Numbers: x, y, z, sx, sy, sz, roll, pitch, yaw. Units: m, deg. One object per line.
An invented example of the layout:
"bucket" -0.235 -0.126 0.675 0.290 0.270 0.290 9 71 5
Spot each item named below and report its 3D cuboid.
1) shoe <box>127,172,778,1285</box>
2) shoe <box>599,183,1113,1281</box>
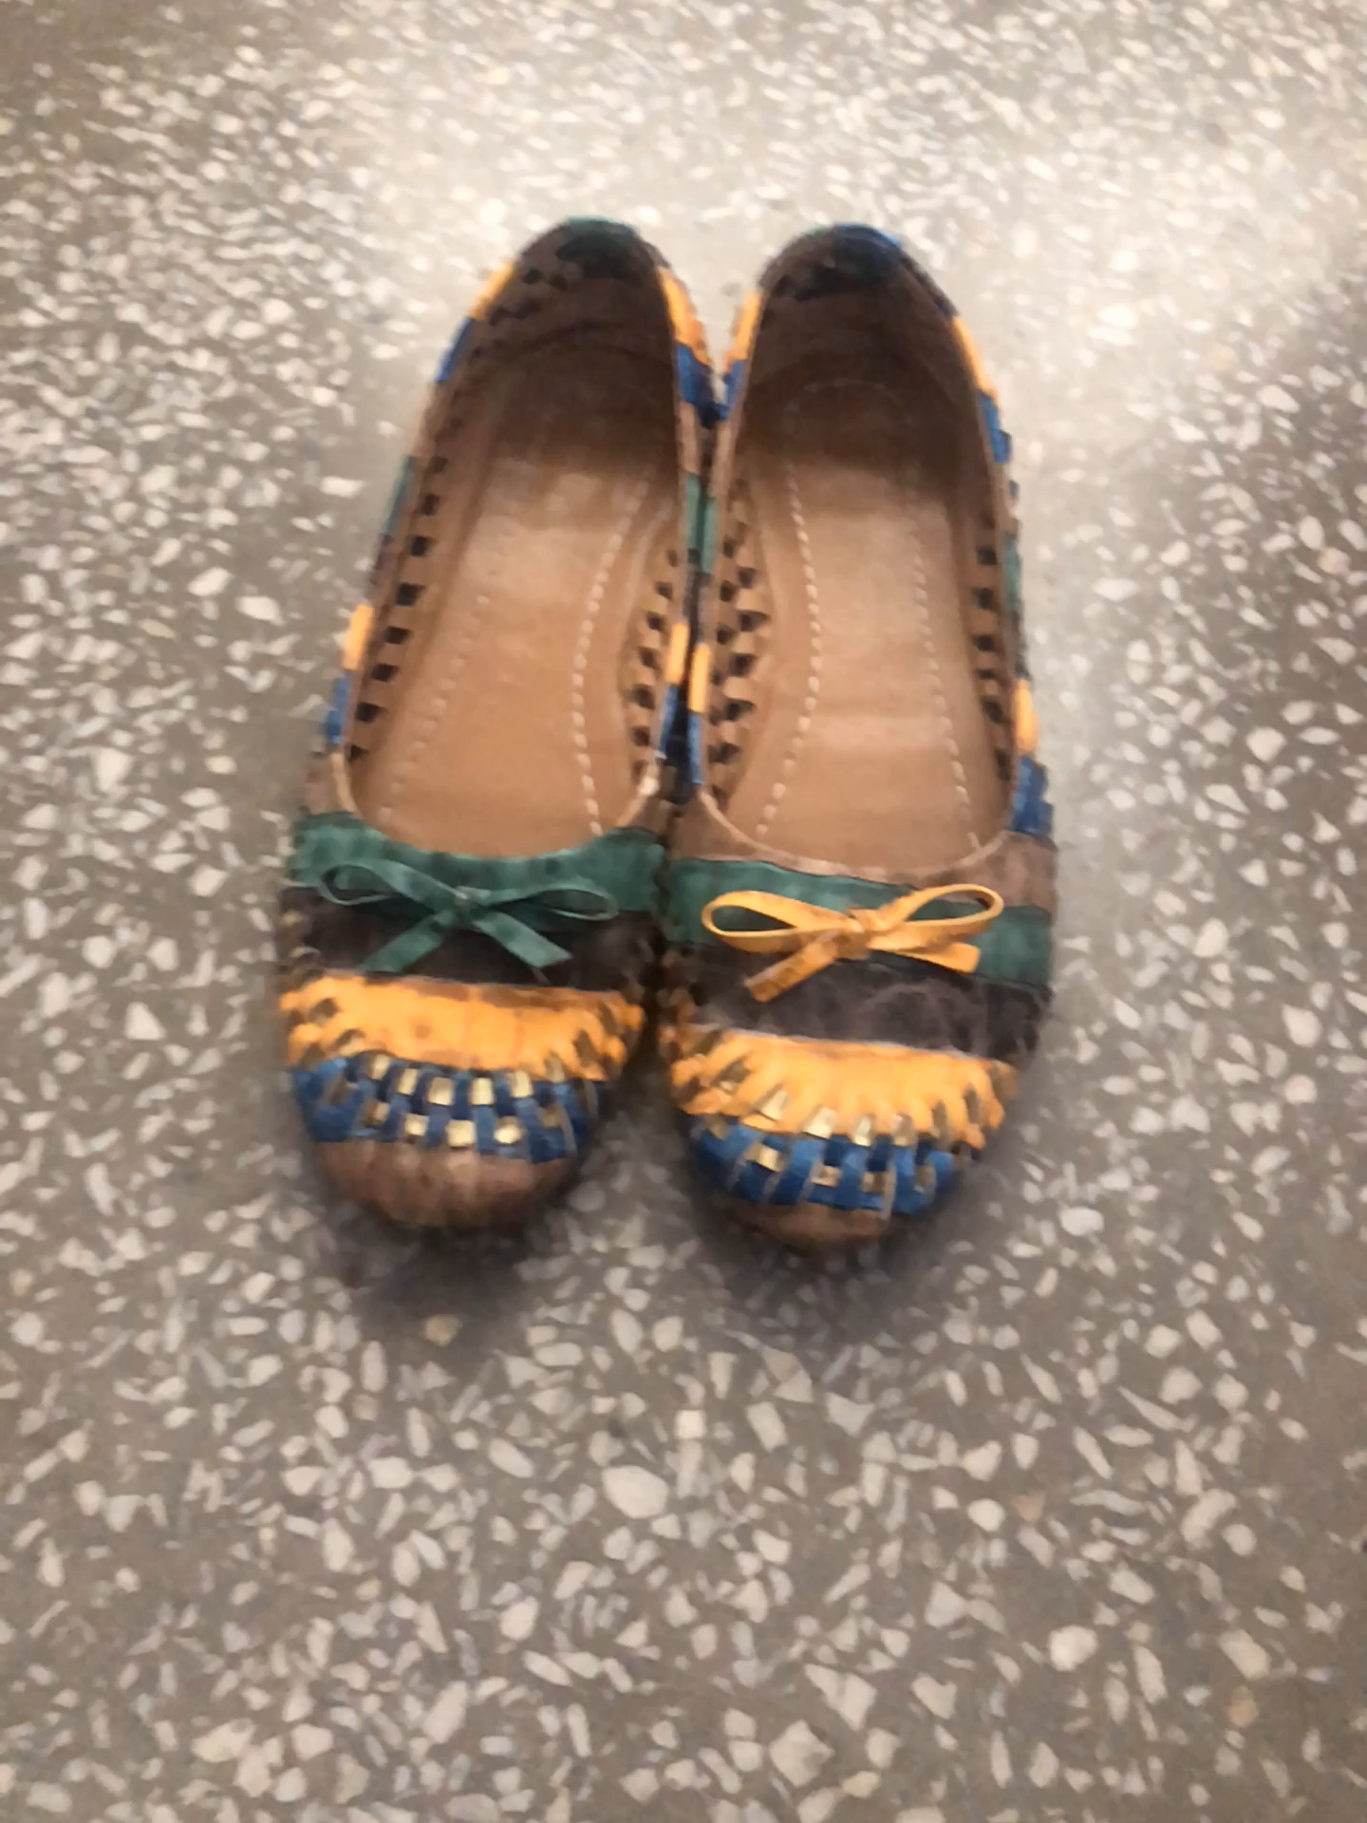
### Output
"shoe" -0.038 -0.046 0.345 0.090 0.074 0.237 7 68 4
"shoe" 0.037 -0.045 0.344 0.090 0.074 0.237 3 68 2
